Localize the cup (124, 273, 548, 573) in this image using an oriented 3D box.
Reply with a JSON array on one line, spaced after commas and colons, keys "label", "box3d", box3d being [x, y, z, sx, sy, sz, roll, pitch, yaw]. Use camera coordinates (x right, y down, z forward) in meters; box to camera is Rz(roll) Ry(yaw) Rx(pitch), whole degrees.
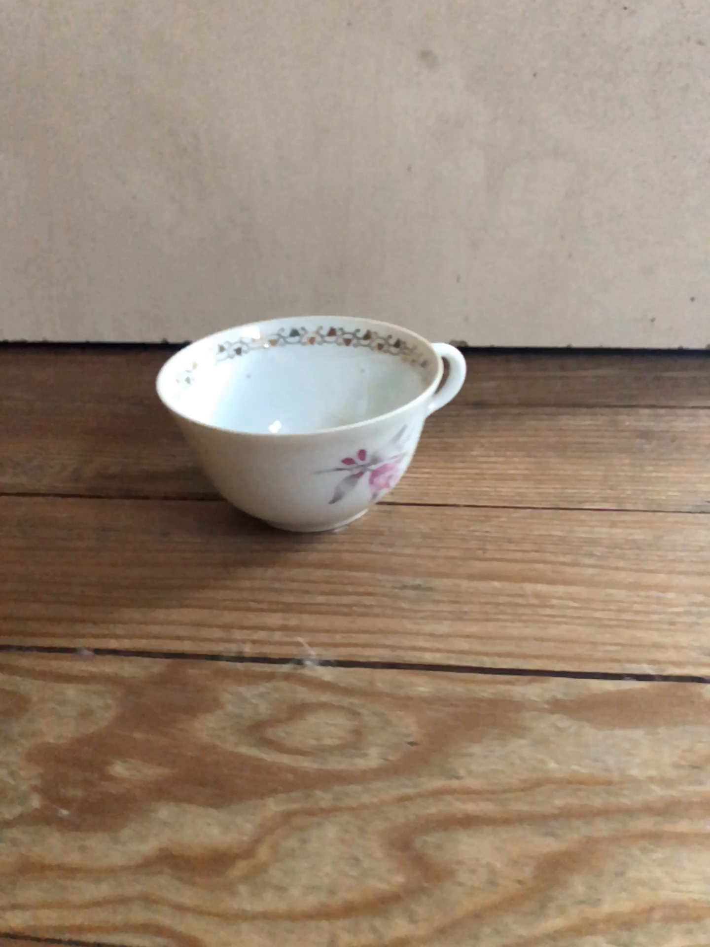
[{"label": "cup", "box3d": [-0.008, -0.023, 0.246, 0.100, 0.040, 0.080, -17, 36, -24]}]
